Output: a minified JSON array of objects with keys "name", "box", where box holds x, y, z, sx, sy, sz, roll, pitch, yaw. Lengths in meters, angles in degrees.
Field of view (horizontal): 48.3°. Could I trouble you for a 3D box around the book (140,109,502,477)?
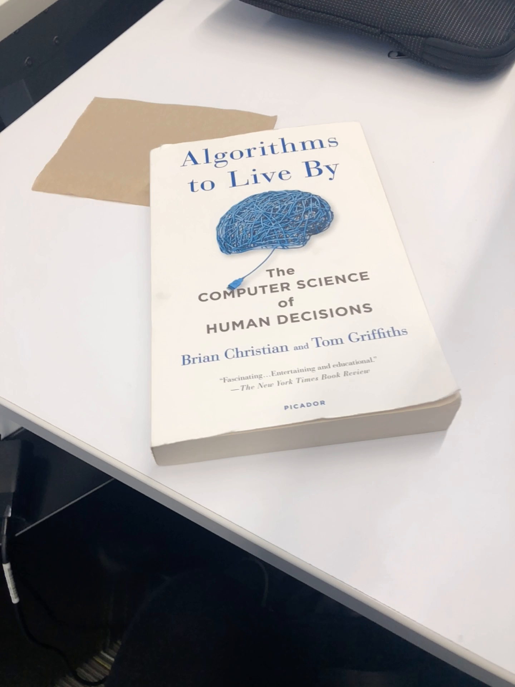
[{"name":"book","box":[0.017,-0.045,0.332,0.160,0.040,0.221,-8,54,0]}]
